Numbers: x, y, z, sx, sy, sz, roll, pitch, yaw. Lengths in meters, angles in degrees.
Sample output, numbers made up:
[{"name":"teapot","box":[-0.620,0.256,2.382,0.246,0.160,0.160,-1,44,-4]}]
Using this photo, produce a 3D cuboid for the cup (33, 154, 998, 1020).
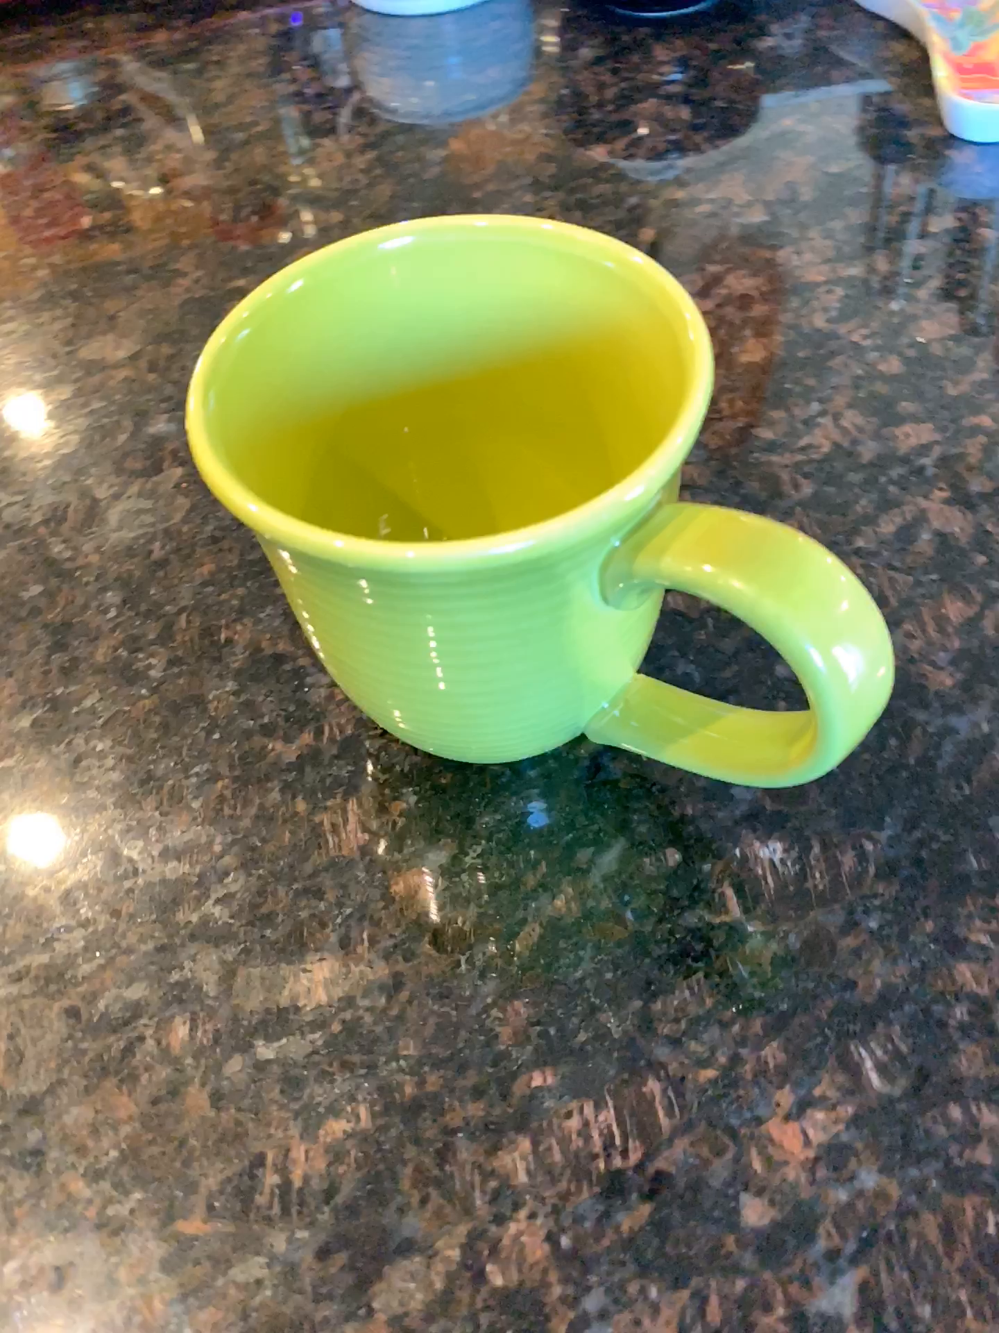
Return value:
[{"name":"cup","box":[0.006,-0.027,0.222,0.150,0.080,0.110,31,63,25]}]
